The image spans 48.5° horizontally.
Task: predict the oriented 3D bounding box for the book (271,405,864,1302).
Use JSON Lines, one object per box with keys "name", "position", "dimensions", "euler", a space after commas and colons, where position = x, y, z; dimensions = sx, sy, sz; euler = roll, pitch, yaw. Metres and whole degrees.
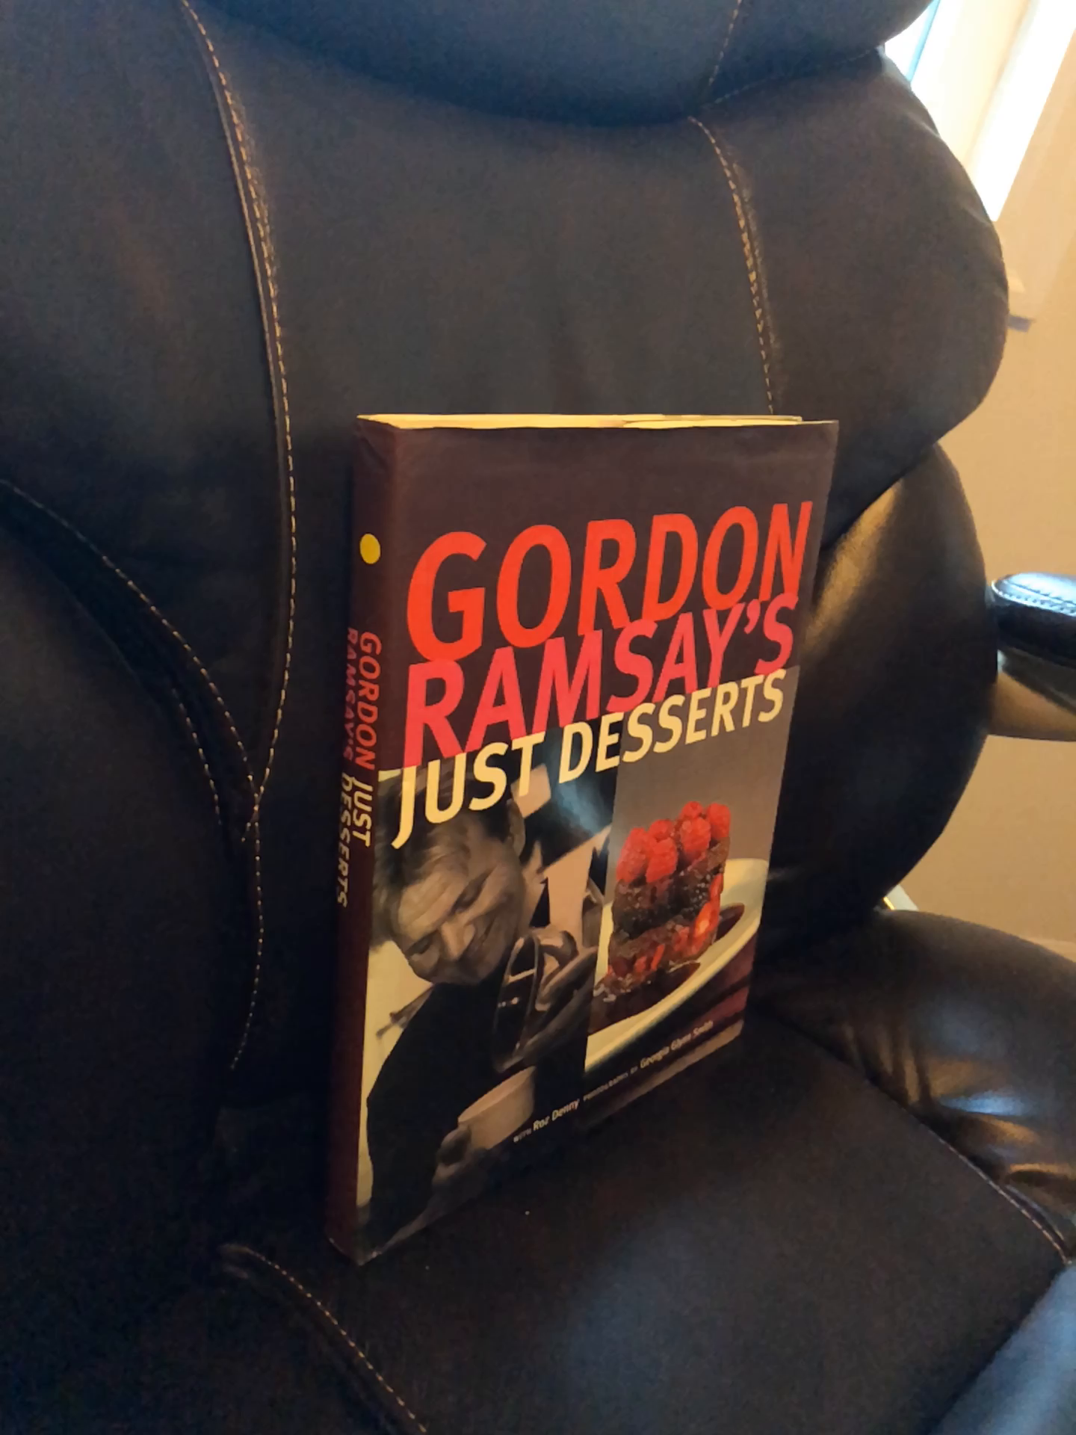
{"name": "book", "position": [0.015, 0.037, 0.441], "dimensions": [0.030, 0.293, 0.231], "euler": [26, 28, 38]}
